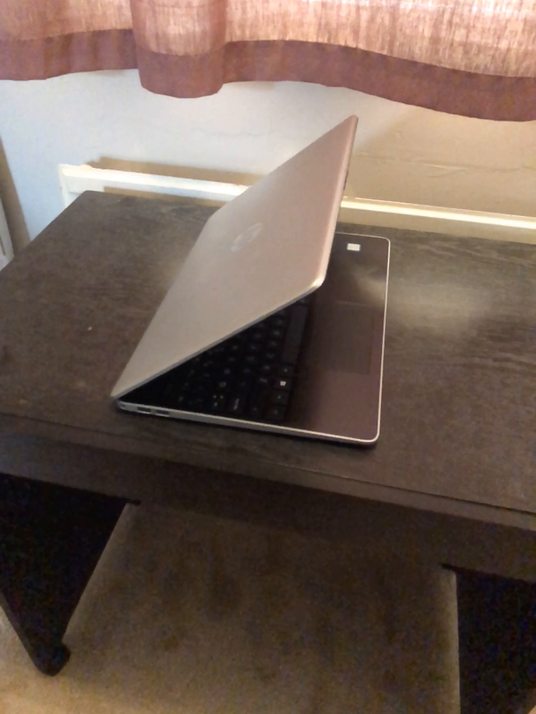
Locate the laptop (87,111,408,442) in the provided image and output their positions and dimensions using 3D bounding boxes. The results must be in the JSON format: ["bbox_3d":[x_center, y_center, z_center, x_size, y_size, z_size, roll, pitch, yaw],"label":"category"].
[{"bbox_3d":[0.014,-0.112,0.611,0.236,0.141,0.363,9,41,6],"label":"laptop"}]
